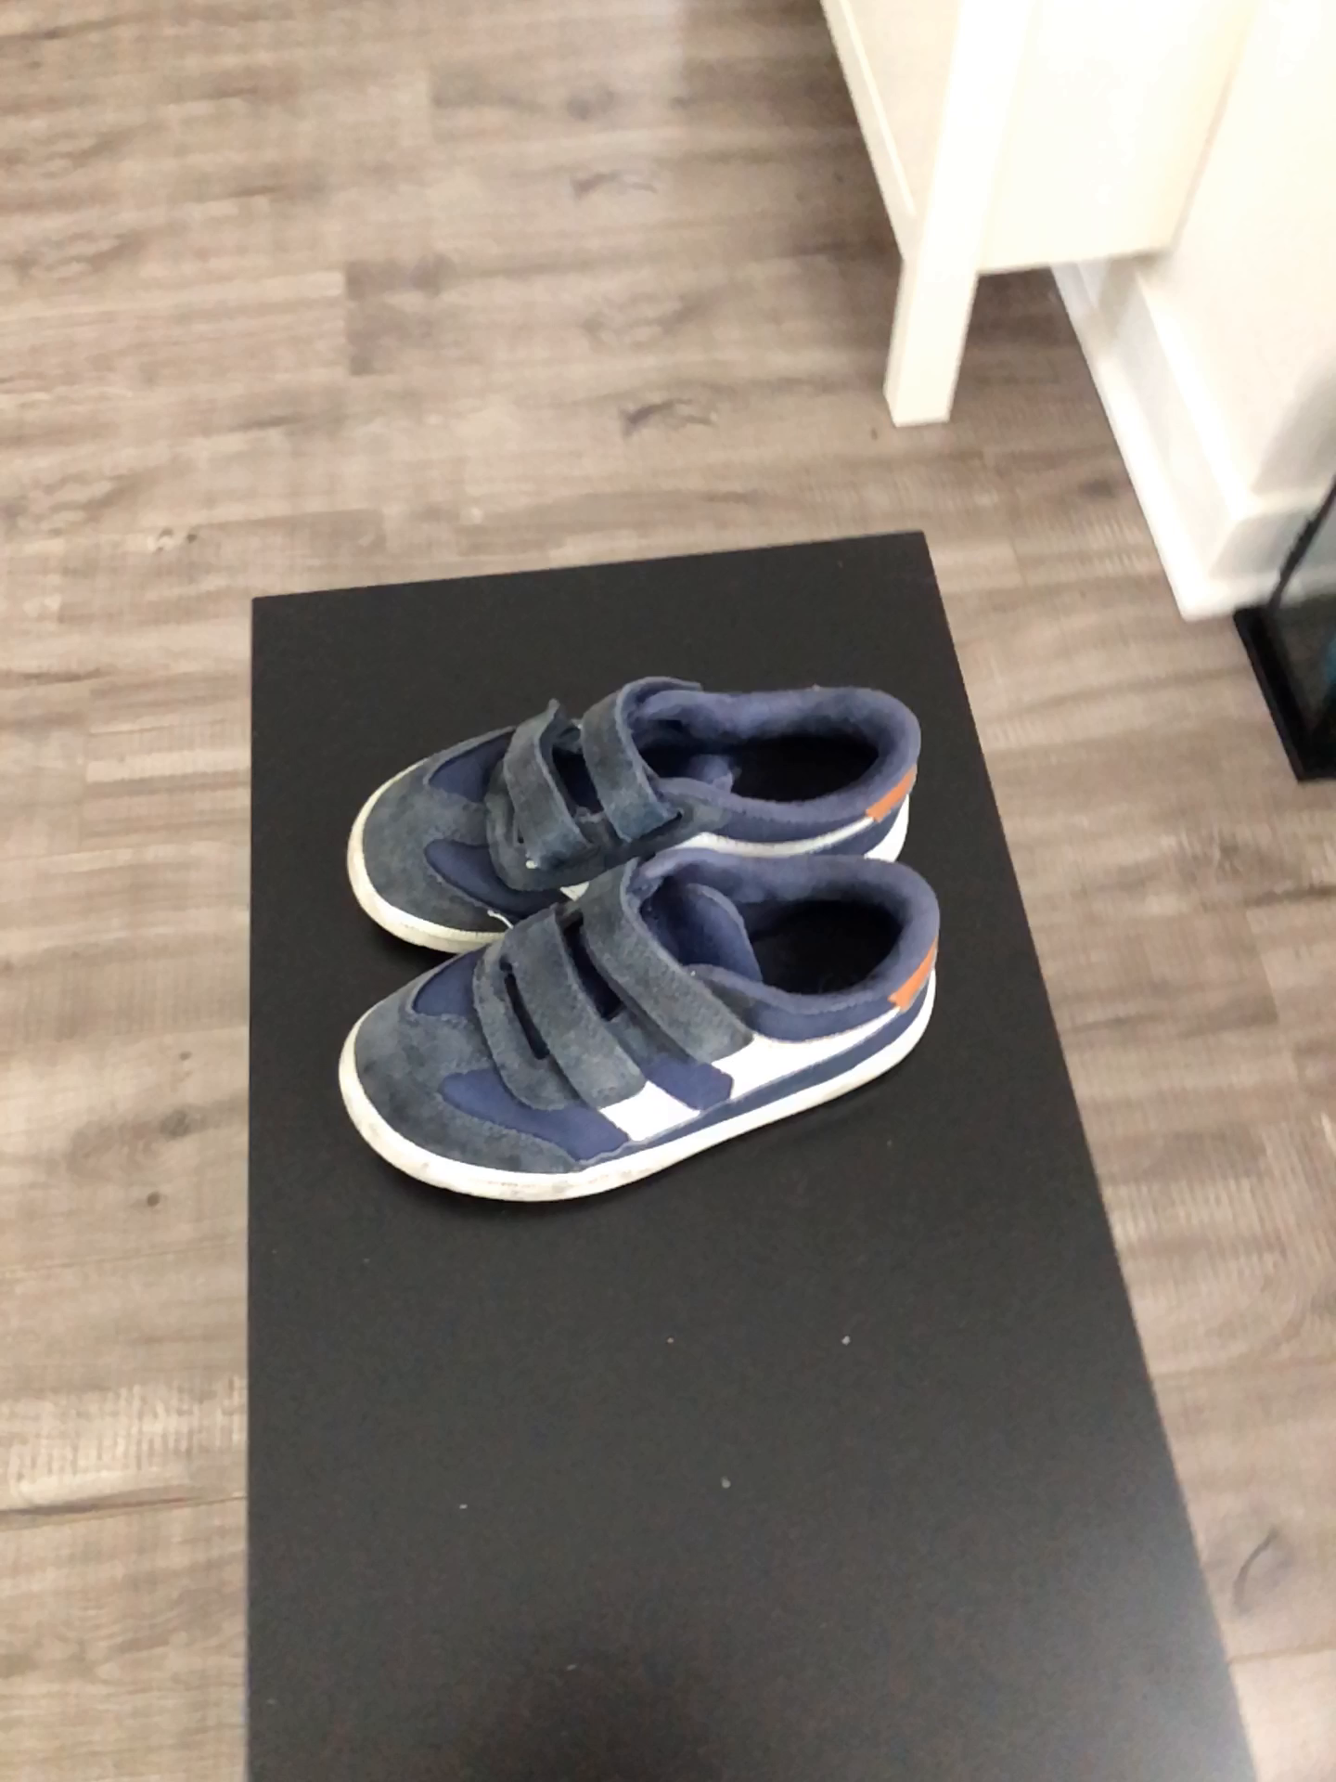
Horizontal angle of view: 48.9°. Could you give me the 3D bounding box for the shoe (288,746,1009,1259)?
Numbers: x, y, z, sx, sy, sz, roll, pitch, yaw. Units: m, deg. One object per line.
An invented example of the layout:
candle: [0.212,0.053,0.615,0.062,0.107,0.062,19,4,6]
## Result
shoe: [-0.007,0.033,0.441,0.185,0.068,0.088,-15,62,-6]

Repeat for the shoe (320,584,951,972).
shoe: [-0.013,-0.036,0.478,0.185,0.068,0.082,-7,62,-2]
